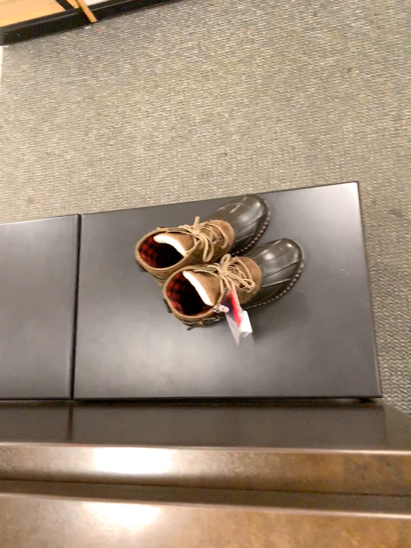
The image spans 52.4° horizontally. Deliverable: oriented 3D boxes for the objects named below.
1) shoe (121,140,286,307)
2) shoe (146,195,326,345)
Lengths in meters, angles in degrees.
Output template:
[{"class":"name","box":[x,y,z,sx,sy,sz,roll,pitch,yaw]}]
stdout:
[{"class":"shoe","box":[0.007,-0.072,0.696,0.240,0.150,0.100,-43,72,3]},{"class":"shoe","box":[0.055,0.006,0.661,0.240,0.150,0.100,-31,73,6]}]
